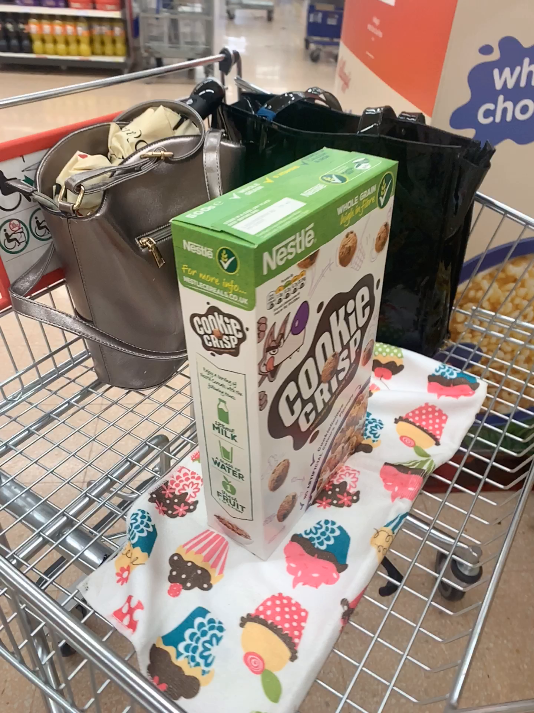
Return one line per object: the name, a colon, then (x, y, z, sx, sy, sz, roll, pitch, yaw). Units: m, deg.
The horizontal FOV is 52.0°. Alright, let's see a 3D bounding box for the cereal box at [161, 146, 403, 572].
cereal box: (0.026, 0.000, 0.490, 0.070, 0.307, 0.222, 20, 39, 28)
